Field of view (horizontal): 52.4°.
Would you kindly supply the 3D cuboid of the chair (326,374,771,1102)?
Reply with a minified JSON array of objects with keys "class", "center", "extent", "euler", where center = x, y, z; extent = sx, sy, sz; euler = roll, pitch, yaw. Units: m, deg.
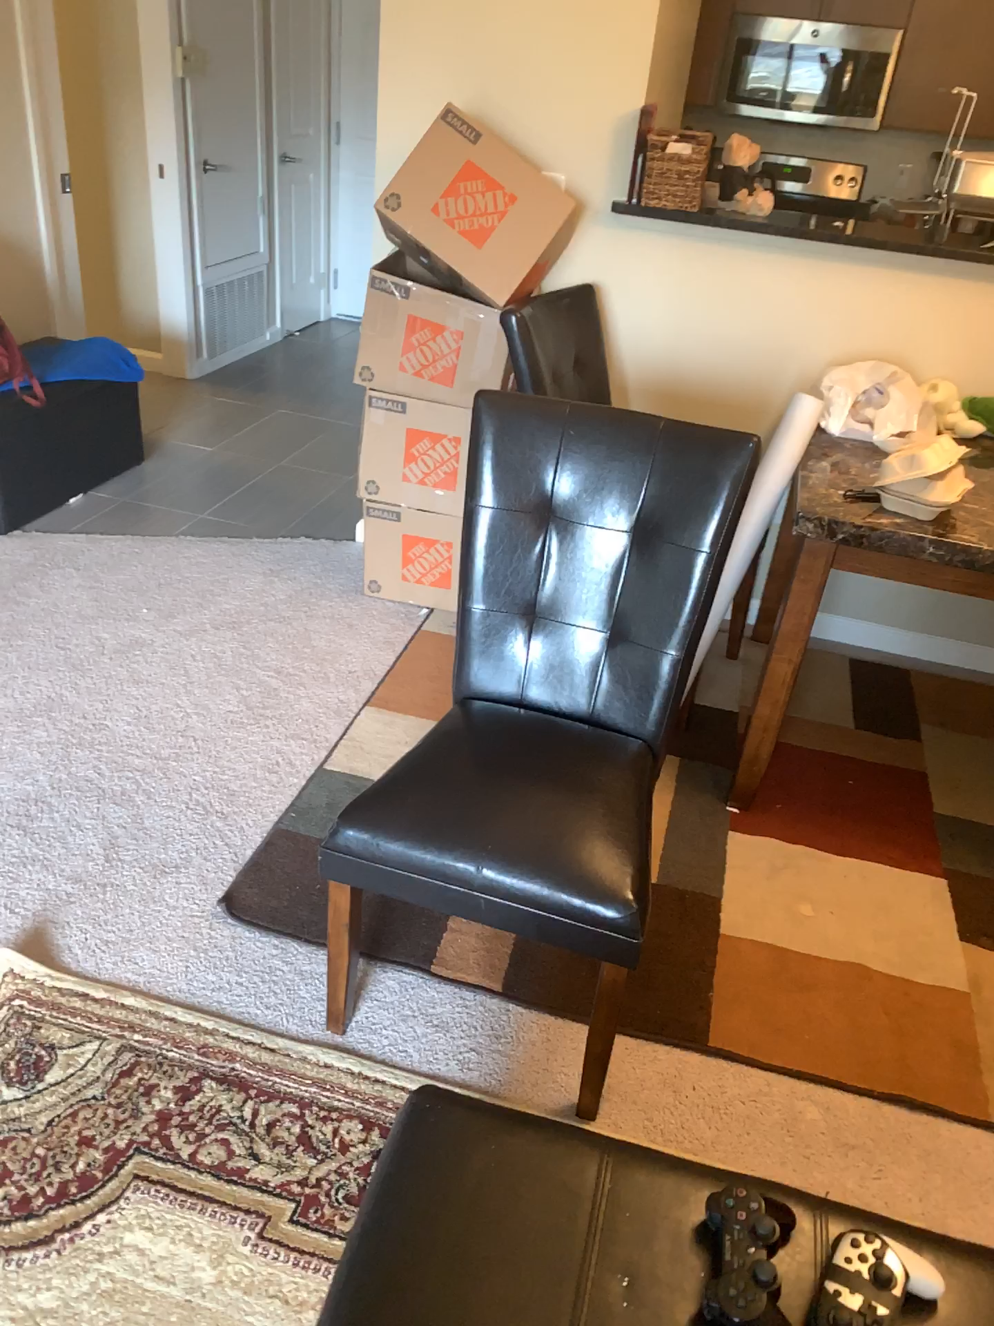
[{"class":"chair","center":[0.084,0.091,1.684],"extent":[0.490,0.915,0.653],"euler":[13,31,12]}]
